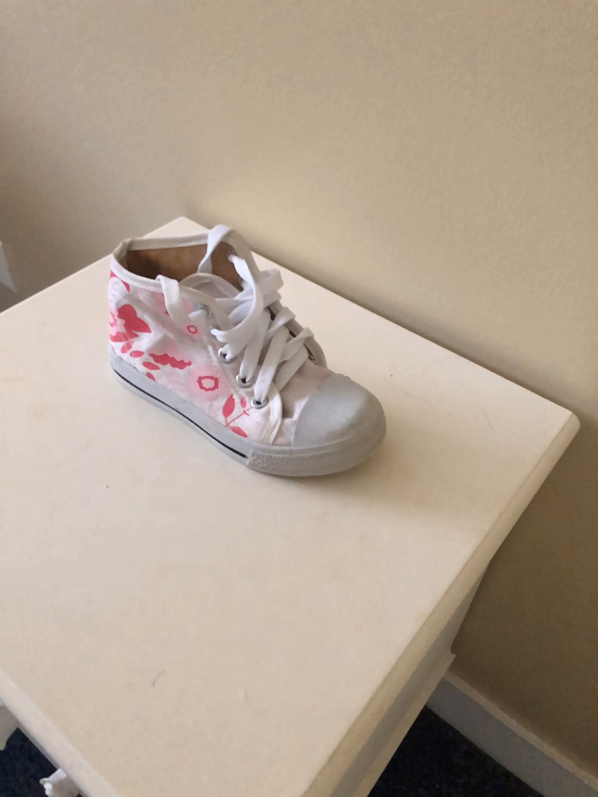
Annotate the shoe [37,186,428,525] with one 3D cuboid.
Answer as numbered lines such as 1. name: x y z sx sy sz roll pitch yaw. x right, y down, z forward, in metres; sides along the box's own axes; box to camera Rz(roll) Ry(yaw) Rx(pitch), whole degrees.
1. shoe: -0.039 -0.031 0.373 0.190 0.099 0.080 26 49 21
